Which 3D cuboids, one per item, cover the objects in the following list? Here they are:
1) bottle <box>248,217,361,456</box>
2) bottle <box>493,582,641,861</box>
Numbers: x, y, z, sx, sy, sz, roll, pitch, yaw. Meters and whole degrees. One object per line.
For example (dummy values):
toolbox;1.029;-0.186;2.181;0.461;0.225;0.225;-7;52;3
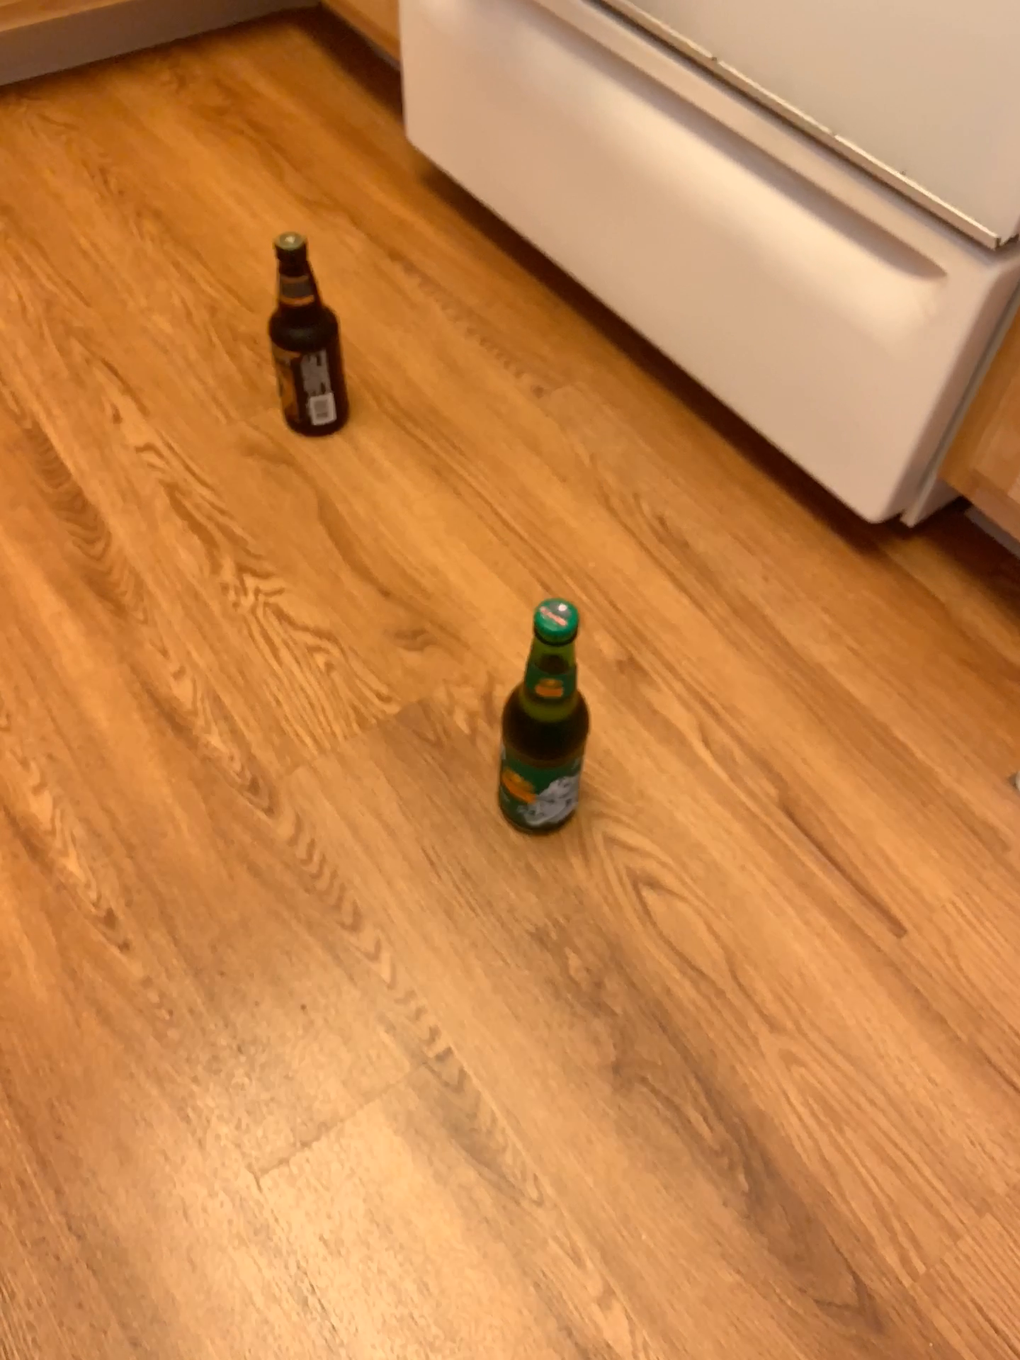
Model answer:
bottle;-0.180;-0.301;0.946;0.060;0.189;0.070;-18;58;-15
bottle;0.031;0.036;0.699;0.060;0.219;0.060;1;55;-2
